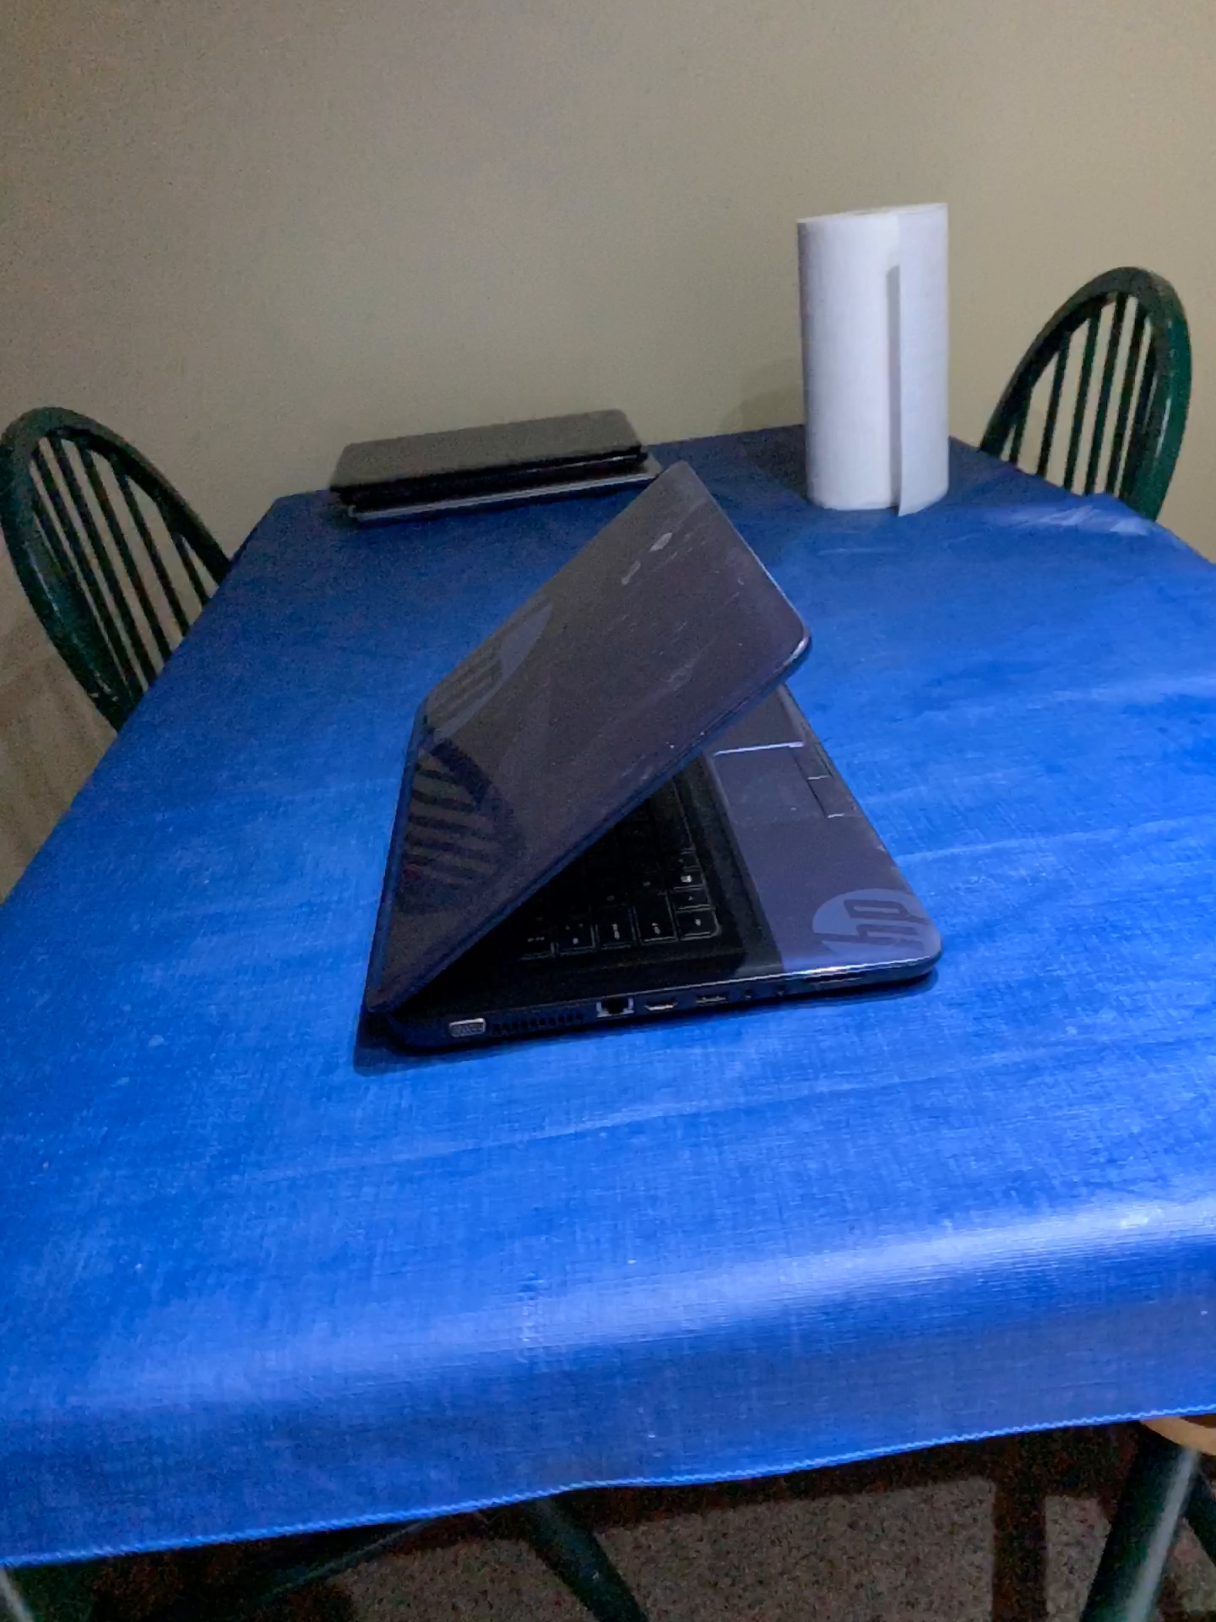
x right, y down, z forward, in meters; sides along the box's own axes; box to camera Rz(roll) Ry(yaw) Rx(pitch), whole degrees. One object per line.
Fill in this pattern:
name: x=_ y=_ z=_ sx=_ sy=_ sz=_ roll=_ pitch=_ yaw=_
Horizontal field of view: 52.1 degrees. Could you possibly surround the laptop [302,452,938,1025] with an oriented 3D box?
laptop: x=-0.001 y=-0.070 z=0.658 sx=0.239 sy=0.141 sz=0.365 roll=-7 pitch=27 yaw=-2
